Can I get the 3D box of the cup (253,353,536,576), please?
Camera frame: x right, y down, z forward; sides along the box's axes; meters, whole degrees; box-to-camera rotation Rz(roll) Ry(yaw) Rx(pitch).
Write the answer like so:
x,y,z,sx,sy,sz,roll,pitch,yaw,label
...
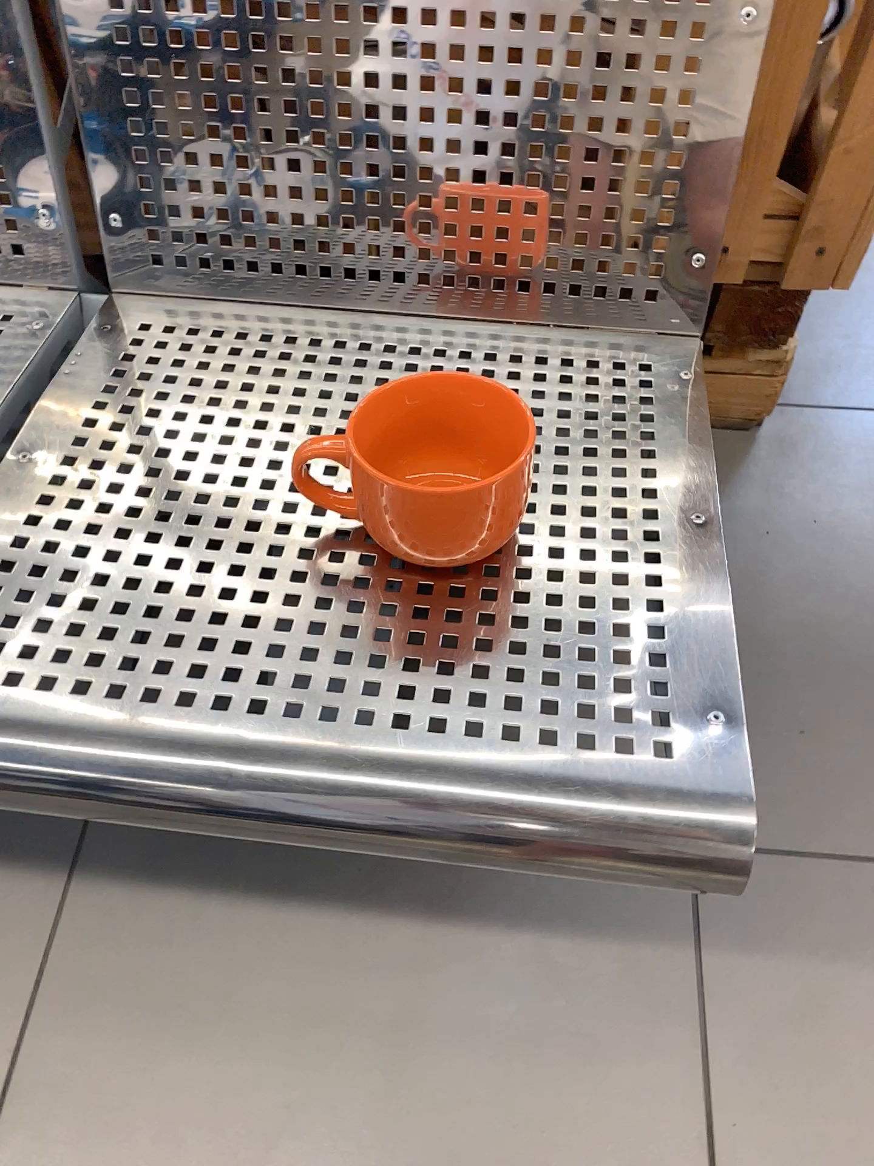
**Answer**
x,y,z,sx,sy,sz,roll,pitch,yaw,label
-0.020,-0.074,0.541,0.150,0.070,0.110,5,47,4,cup
